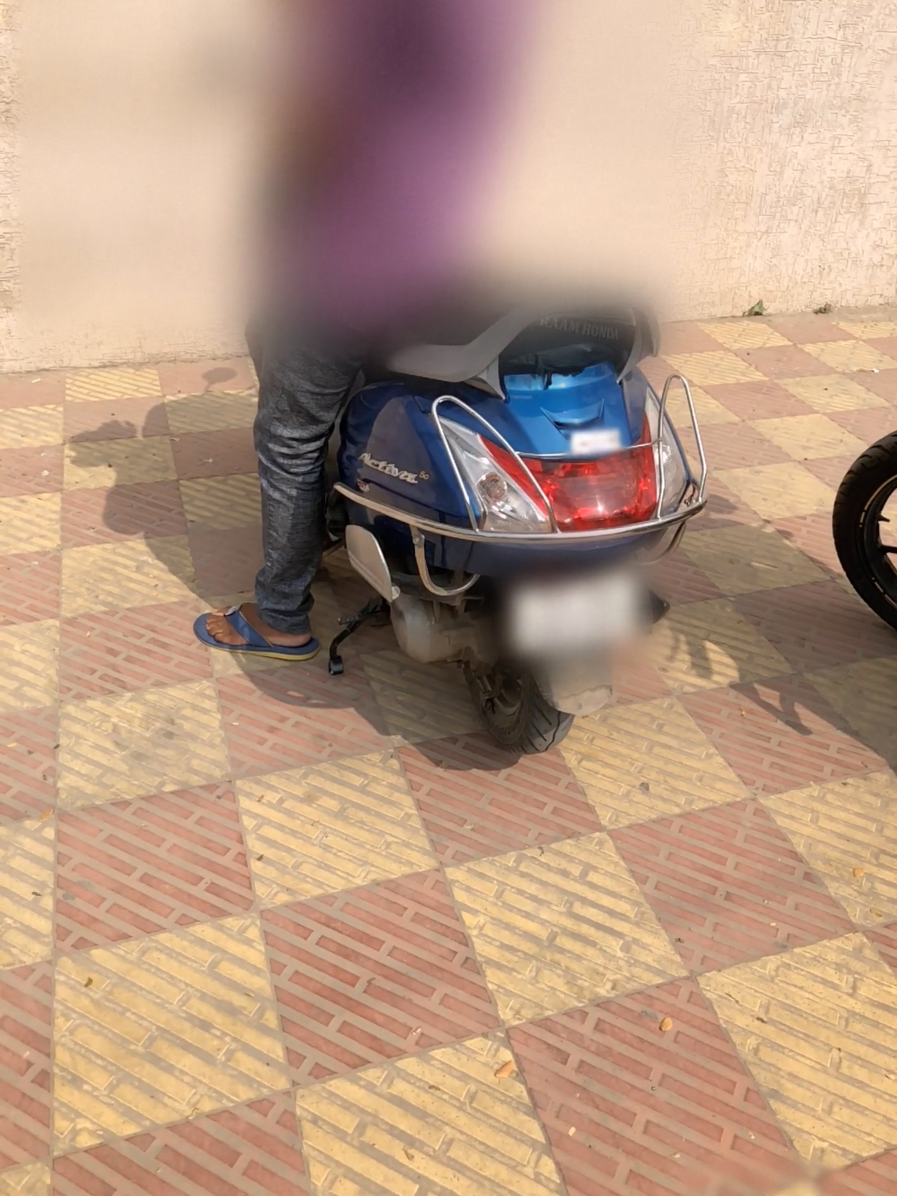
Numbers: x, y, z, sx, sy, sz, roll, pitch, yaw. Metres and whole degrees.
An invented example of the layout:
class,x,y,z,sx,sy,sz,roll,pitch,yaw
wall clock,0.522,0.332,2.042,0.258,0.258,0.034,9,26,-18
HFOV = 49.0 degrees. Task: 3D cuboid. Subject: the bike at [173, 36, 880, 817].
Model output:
class,x,y,z,sx,sy,sz,roll,pitch,yaw
bike,-0.068,-0.562,2.124,0.624,1.037,1.707,-12,35,-20
